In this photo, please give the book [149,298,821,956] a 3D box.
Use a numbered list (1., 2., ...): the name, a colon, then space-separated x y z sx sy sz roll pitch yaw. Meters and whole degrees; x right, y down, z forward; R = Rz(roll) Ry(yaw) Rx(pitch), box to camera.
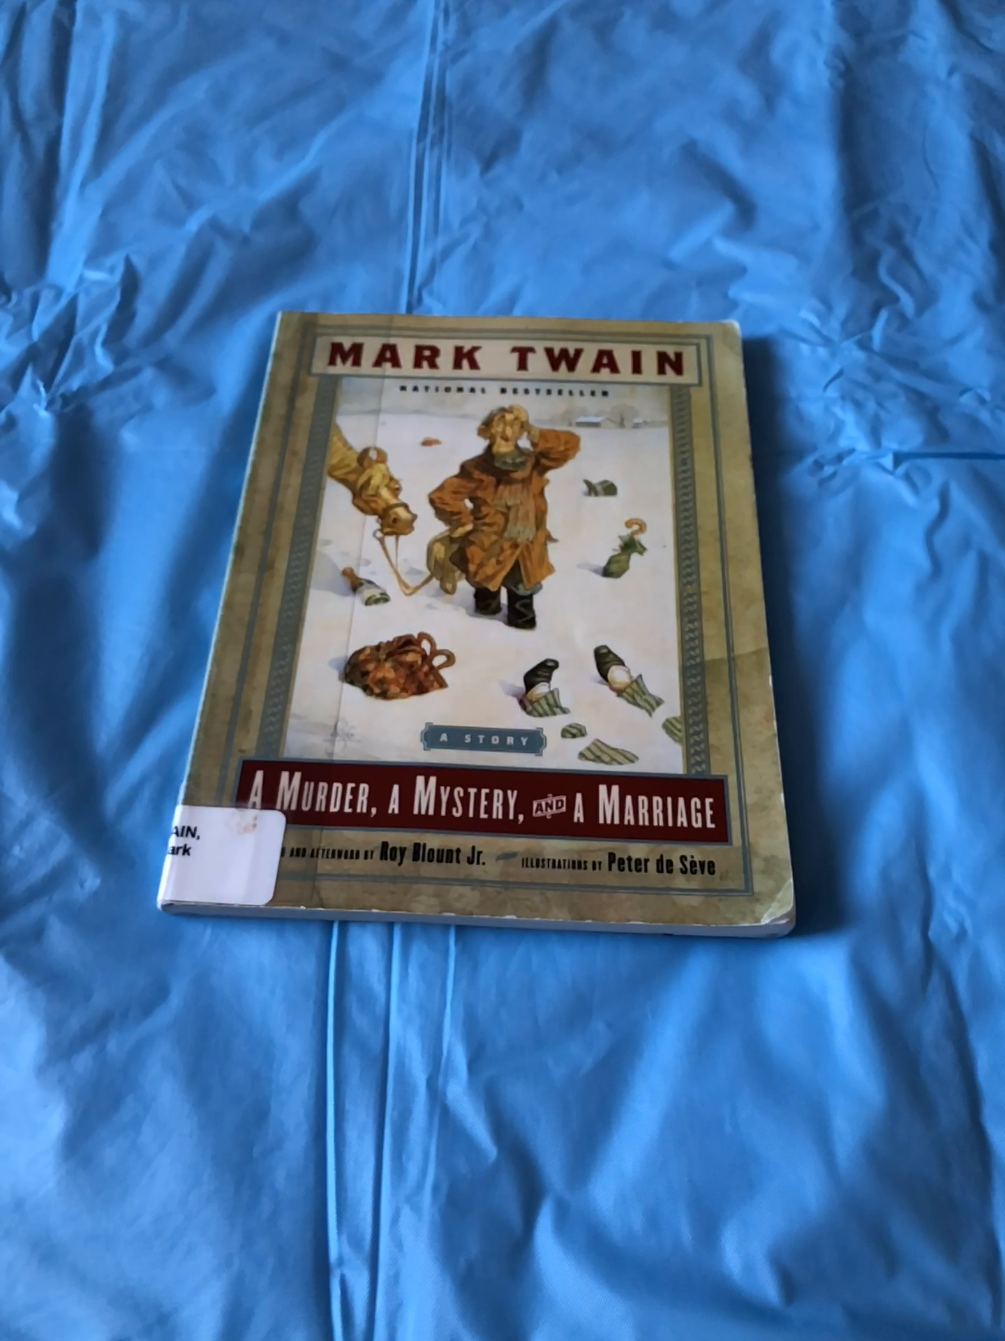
1. book: 0.000 -0.026 0.329 0.160 0.020 0.210 2 59 1
